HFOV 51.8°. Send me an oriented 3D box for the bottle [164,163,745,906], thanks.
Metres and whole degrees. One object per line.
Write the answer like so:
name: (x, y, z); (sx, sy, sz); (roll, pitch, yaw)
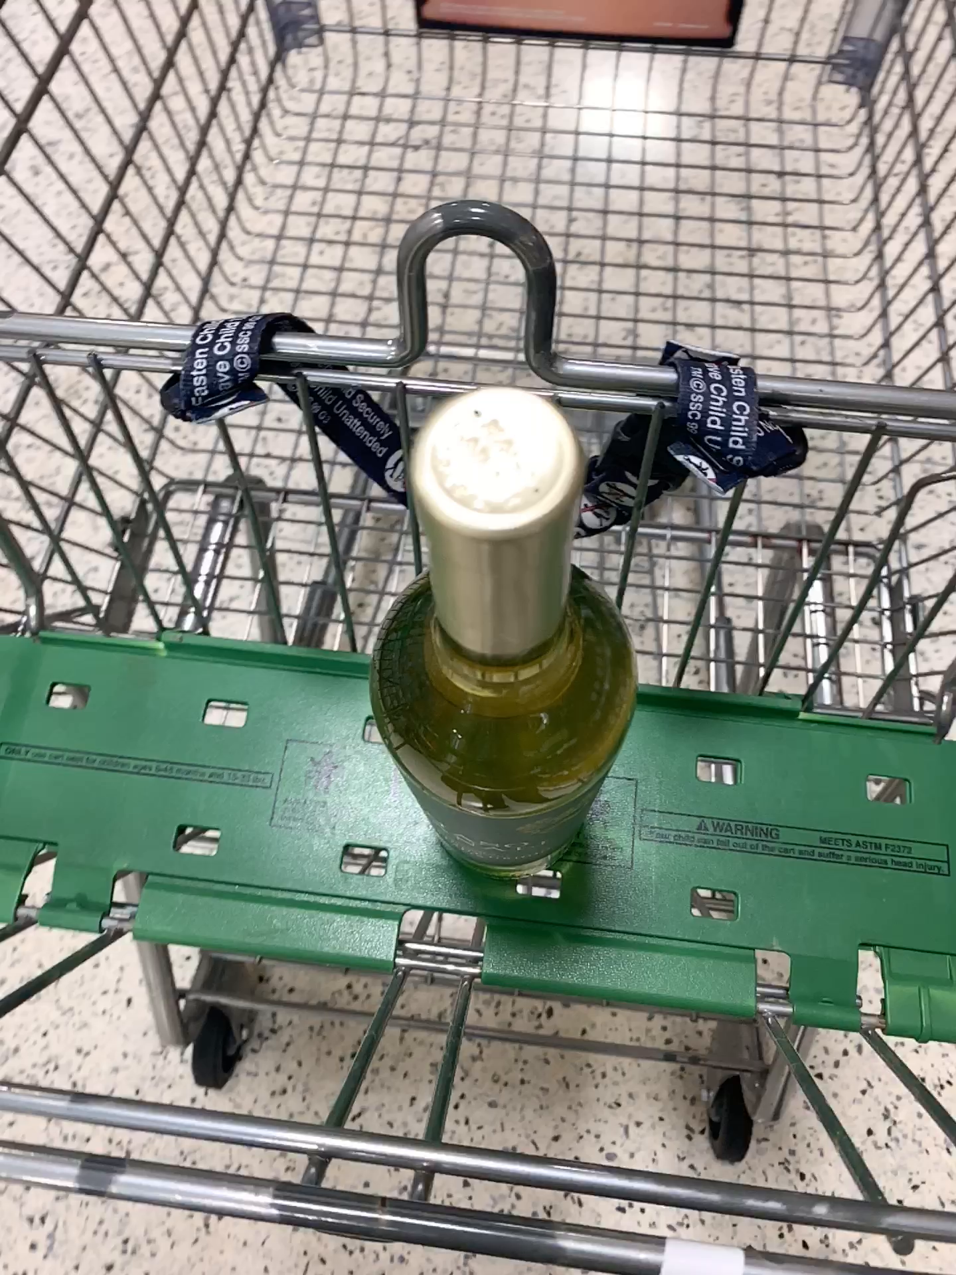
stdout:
bottle: (0.004, 0.018, 0.327); (0.080, 0.338, 0.090); (12, 70, 6)
